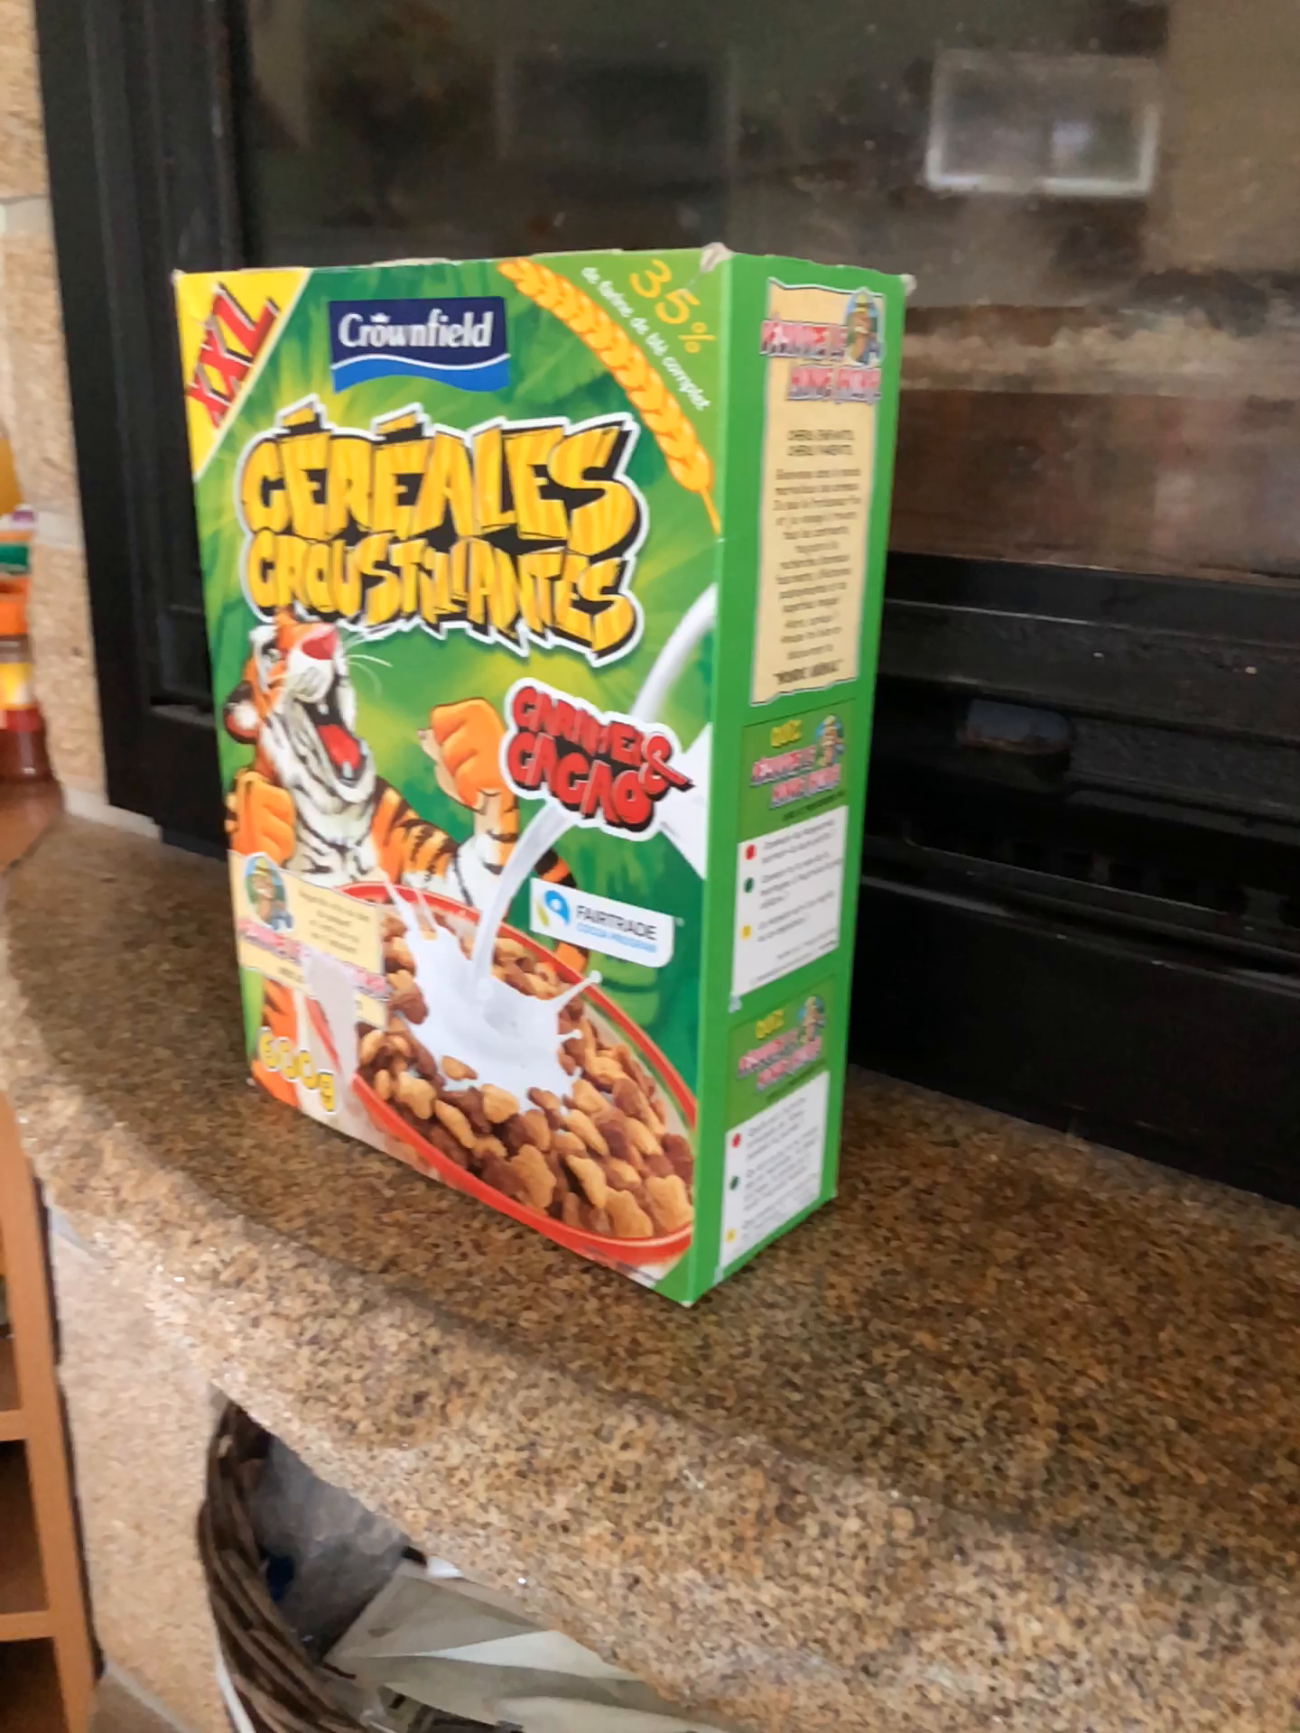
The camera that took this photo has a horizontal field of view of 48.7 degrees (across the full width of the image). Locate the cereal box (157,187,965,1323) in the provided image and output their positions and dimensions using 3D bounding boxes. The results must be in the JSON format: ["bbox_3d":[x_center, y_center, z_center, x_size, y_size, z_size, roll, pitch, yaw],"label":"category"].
[{"bbox_3d":[-0.033,-0.041,0.411,0.200,0.259,0.090,15,22,36],"label":"cereal box"}]
